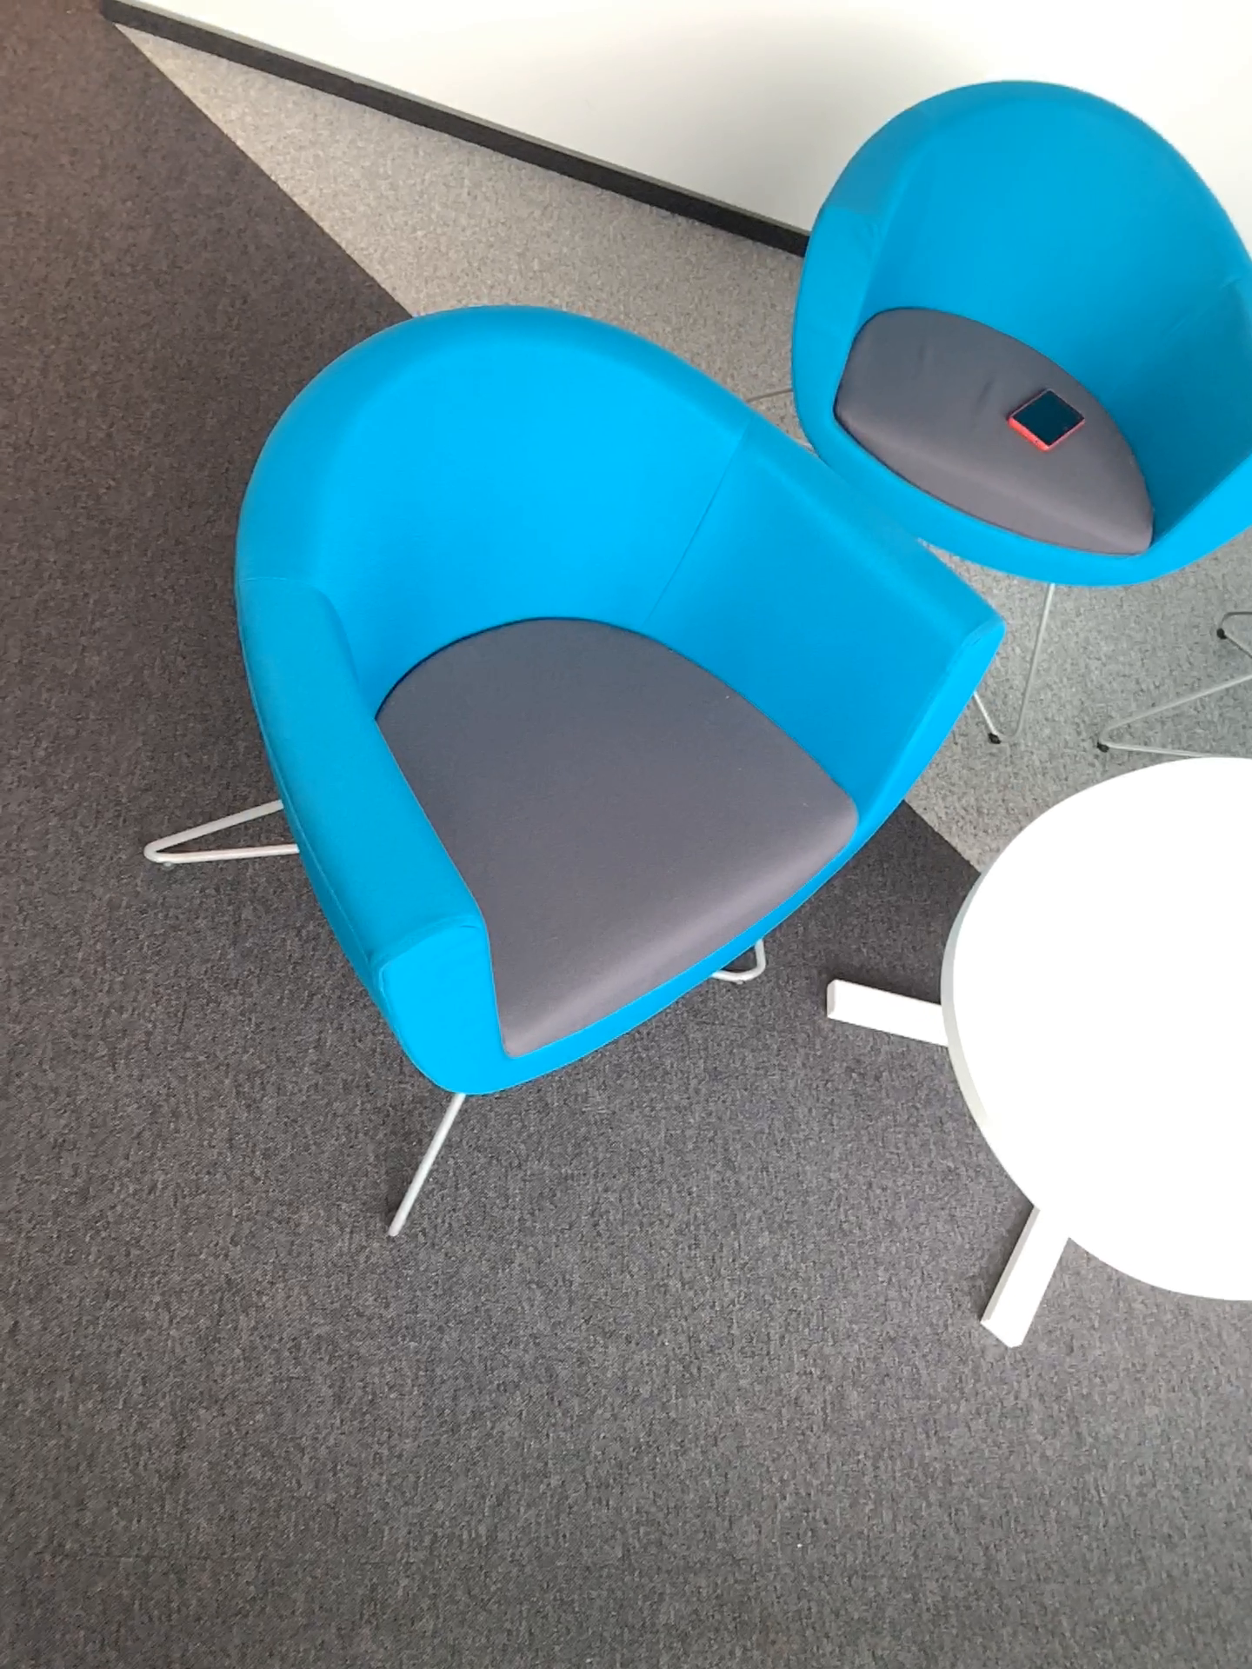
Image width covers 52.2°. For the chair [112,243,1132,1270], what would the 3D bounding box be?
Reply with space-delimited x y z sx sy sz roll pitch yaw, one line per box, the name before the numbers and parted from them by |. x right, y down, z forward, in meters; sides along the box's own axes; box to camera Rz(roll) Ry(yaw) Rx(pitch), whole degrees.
chair | -0.076 -0.076 1.441 0.713 0.757 0.640 -29 74 -34
